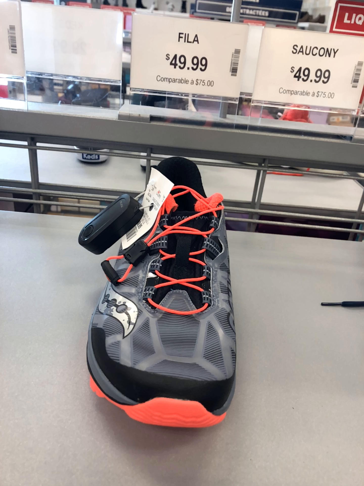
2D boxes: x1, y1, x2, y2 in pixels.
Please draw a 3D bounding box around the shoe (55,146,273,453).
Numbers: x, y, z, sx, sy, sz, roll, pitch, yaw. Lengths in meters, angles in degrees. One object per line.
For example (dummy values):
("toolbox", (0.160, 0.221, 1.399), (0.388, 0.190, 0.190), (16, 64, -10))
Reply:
("shoe", (-0.015, 0.012, 0.356), (0.110, 0.109, 0.292), (4, 28, -3))
